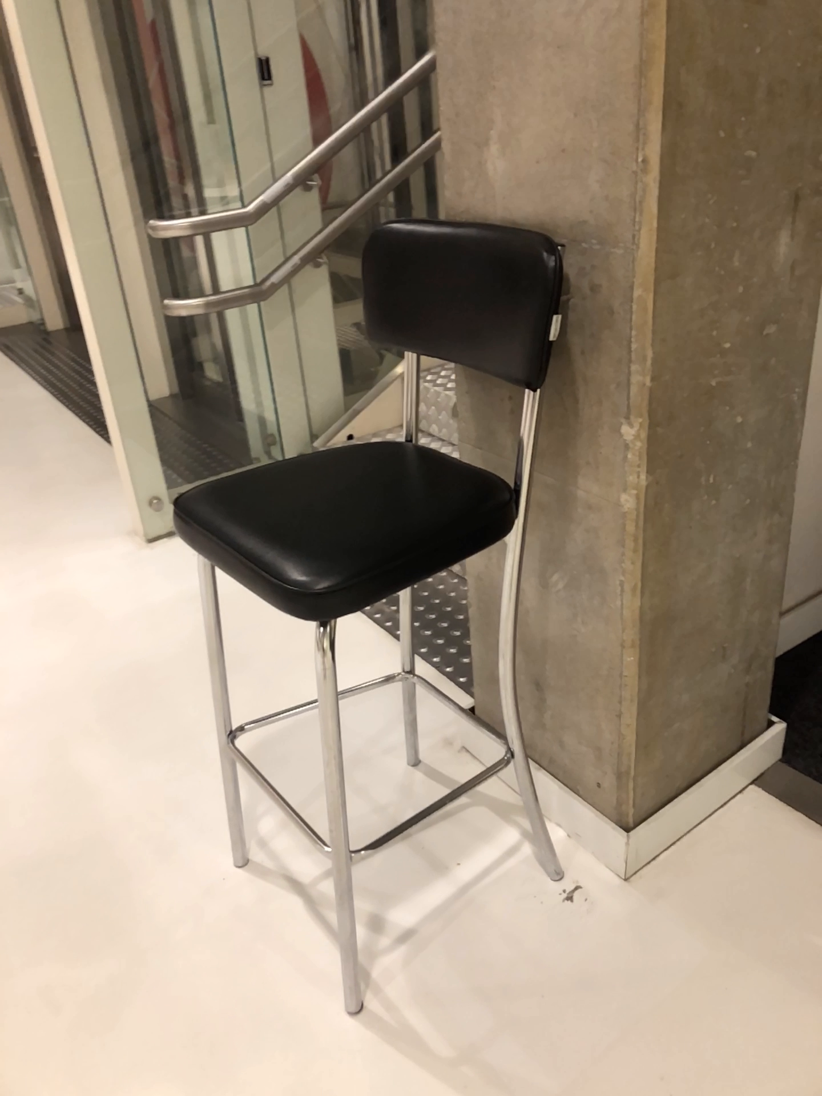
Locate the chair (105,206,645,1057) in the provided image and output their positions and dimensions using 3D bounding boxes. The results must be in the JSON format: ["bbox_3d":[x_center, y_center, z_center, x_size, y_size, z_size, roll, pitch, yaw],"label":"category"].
[{"bbox_3d":[-0.018,0.092,1.249,0.441,0.983,0.452,-22,32,-29],"label":"chair"}]
